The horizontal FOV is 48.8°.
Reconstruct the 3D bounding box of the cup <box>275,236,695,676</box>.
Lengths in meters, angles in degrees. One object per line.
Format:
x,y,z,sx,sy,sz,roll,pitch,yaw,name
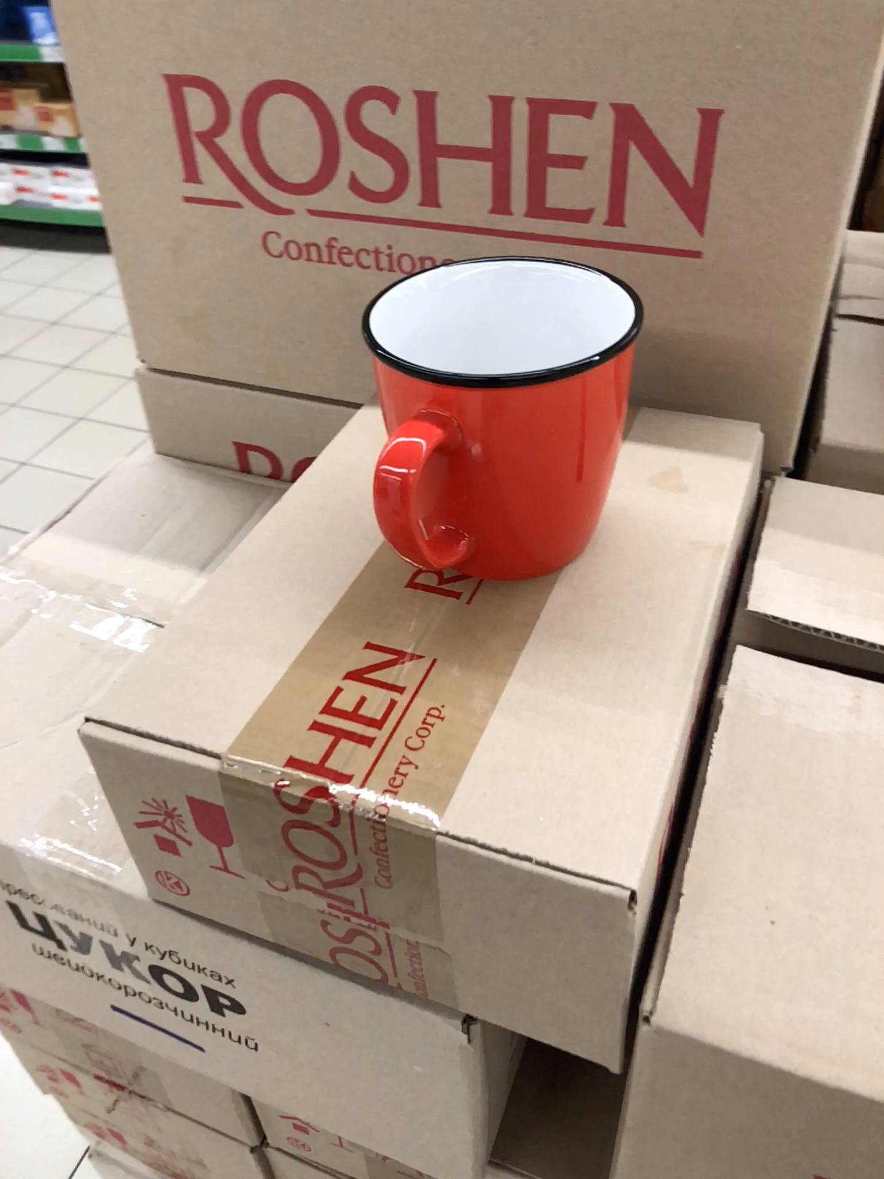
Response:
0.021,-0.056,0.356,0.096,0.089,0.127,17,44,22,cup
